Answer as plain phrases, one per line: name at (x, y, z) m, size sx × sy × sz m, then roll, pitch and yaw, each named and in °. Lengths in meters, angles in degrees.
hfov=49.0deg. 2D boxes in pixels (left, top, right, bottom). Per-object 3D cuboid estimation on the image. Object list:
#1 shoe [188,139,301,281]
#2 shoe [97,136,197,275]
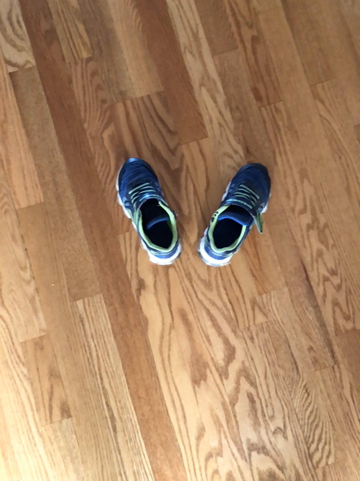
shoe at (0.106, -0.047, 0.678) m, size 0.093 × 0.087 × 0.212 m, roll 27°, pitch 84°, yaw 1°
shoe at (-0.054, -0.054, 0.678) m, size 0.093 × 0.095 × 0.203 m, roll -21°, pitch 85°, yaw -4°
